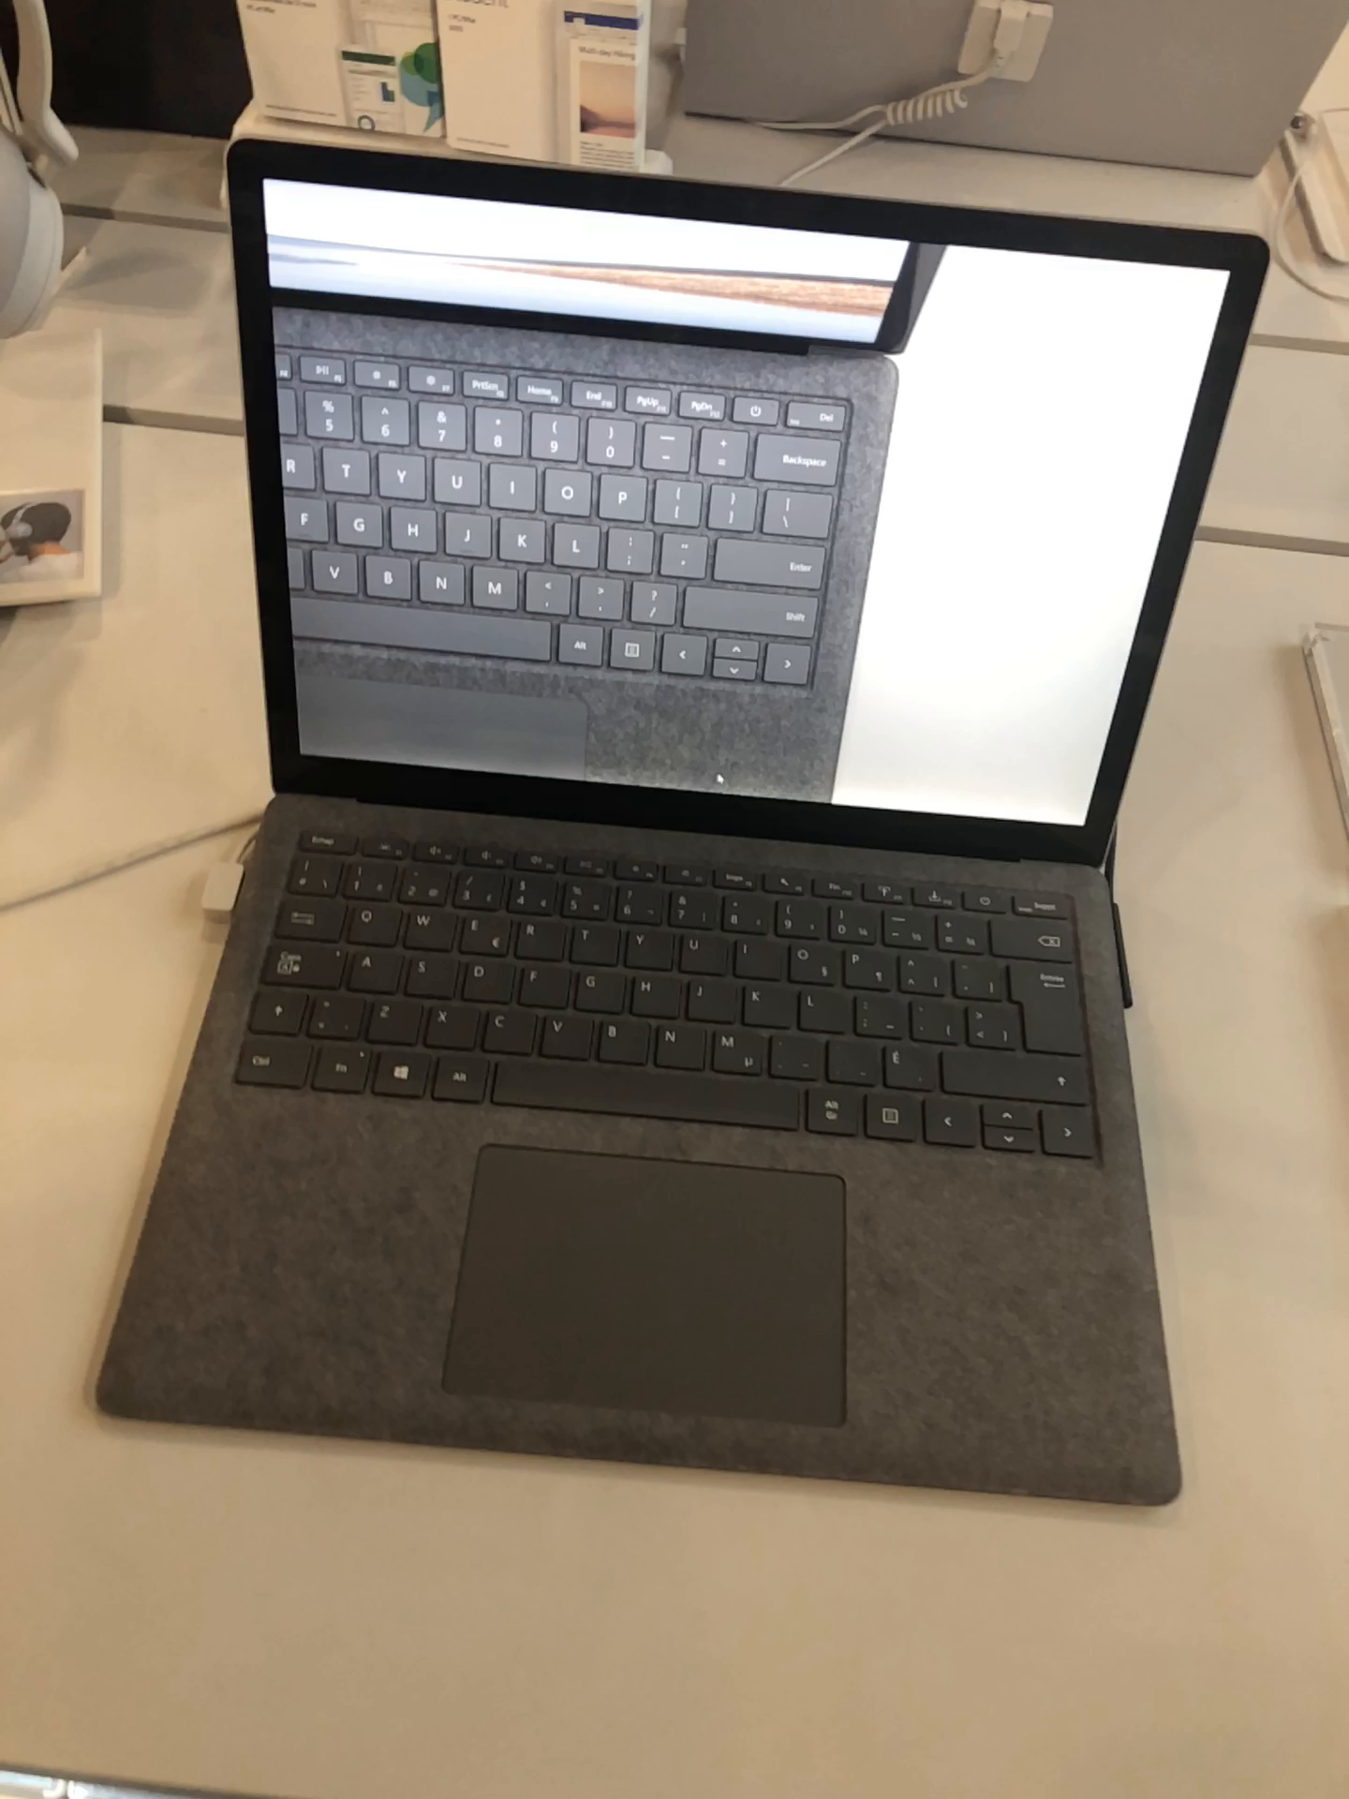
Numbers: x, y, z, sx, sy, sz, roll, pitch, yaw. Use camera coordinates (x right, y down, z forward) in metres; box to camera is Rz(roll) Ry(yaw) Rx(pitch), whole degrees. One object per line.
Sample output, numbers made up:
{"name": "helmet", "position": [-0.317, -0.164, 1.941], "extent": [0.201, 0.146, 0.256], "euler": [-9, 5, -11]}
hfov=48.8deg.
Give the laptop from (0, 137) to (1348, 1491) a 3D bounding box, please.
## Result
{"name": "laptop", "position": [0.006, -0.026, 0.422], "extent": [0.297, 0.197, 0.296], "euler": [5, 54, -1]}
